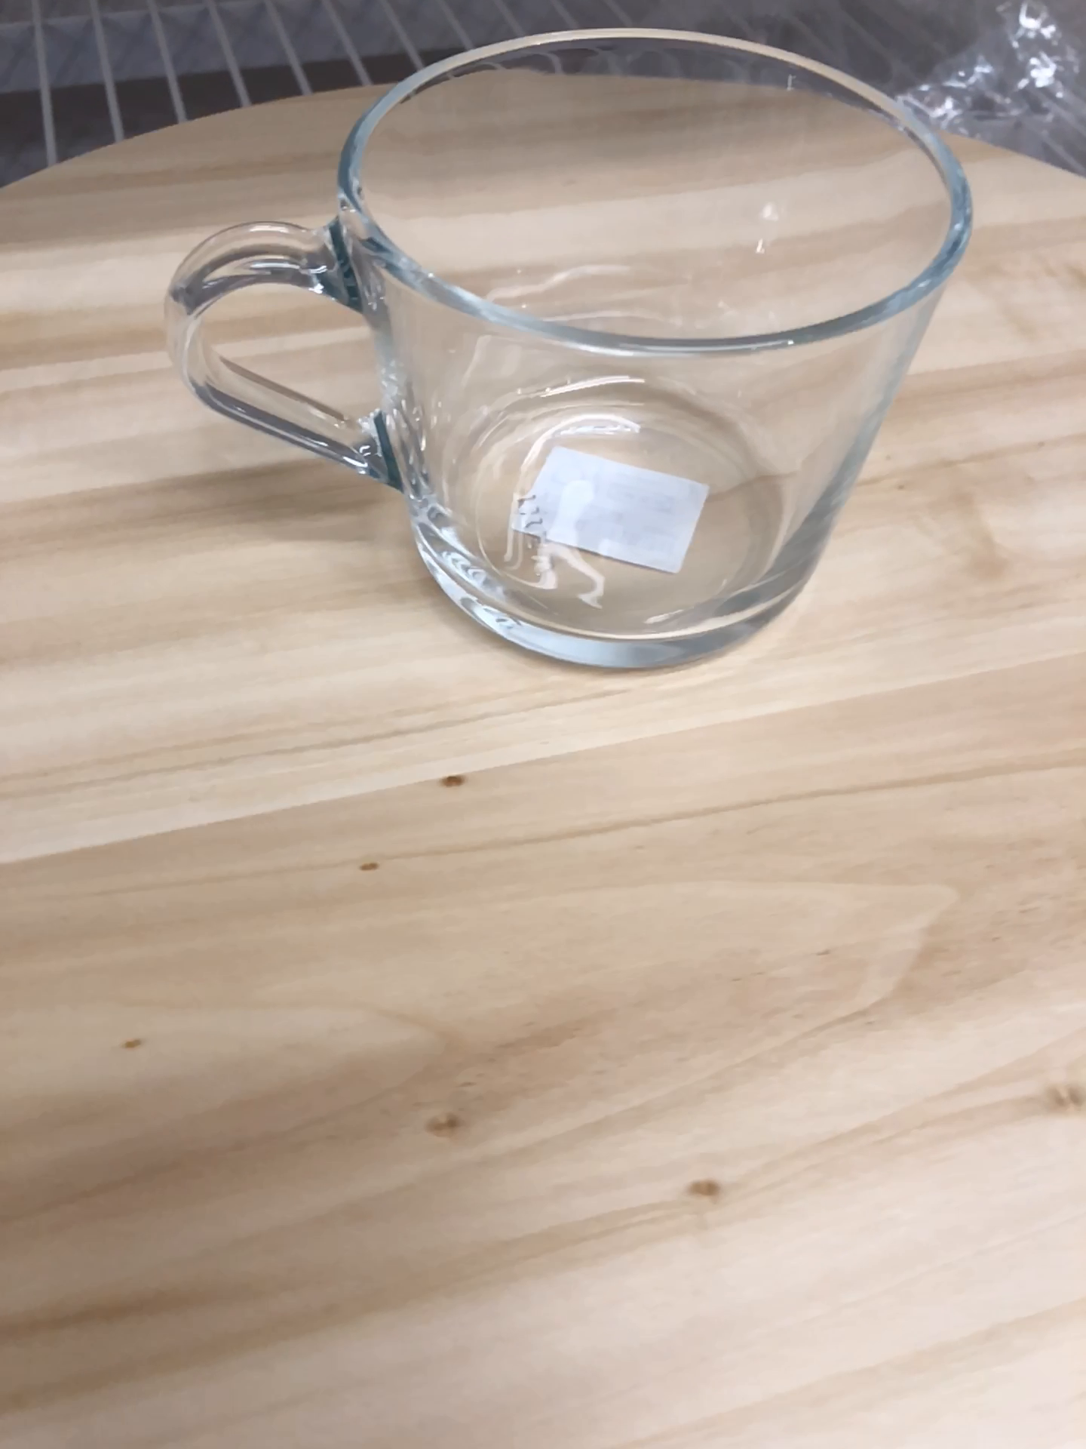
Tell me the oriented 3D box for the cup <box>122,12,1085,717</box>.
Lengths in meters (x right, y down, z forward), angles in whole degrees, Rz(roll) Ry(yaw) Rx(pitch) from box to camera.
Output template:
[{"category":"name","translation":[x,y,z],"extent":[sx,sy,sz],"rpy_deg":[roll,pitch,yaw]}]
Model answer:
[{"category":"cup","translation":[0.006,-0.060,0.192],"extent":[0.120,0.060,0.090],"rpy_deg":[-5,50,-6]}]
